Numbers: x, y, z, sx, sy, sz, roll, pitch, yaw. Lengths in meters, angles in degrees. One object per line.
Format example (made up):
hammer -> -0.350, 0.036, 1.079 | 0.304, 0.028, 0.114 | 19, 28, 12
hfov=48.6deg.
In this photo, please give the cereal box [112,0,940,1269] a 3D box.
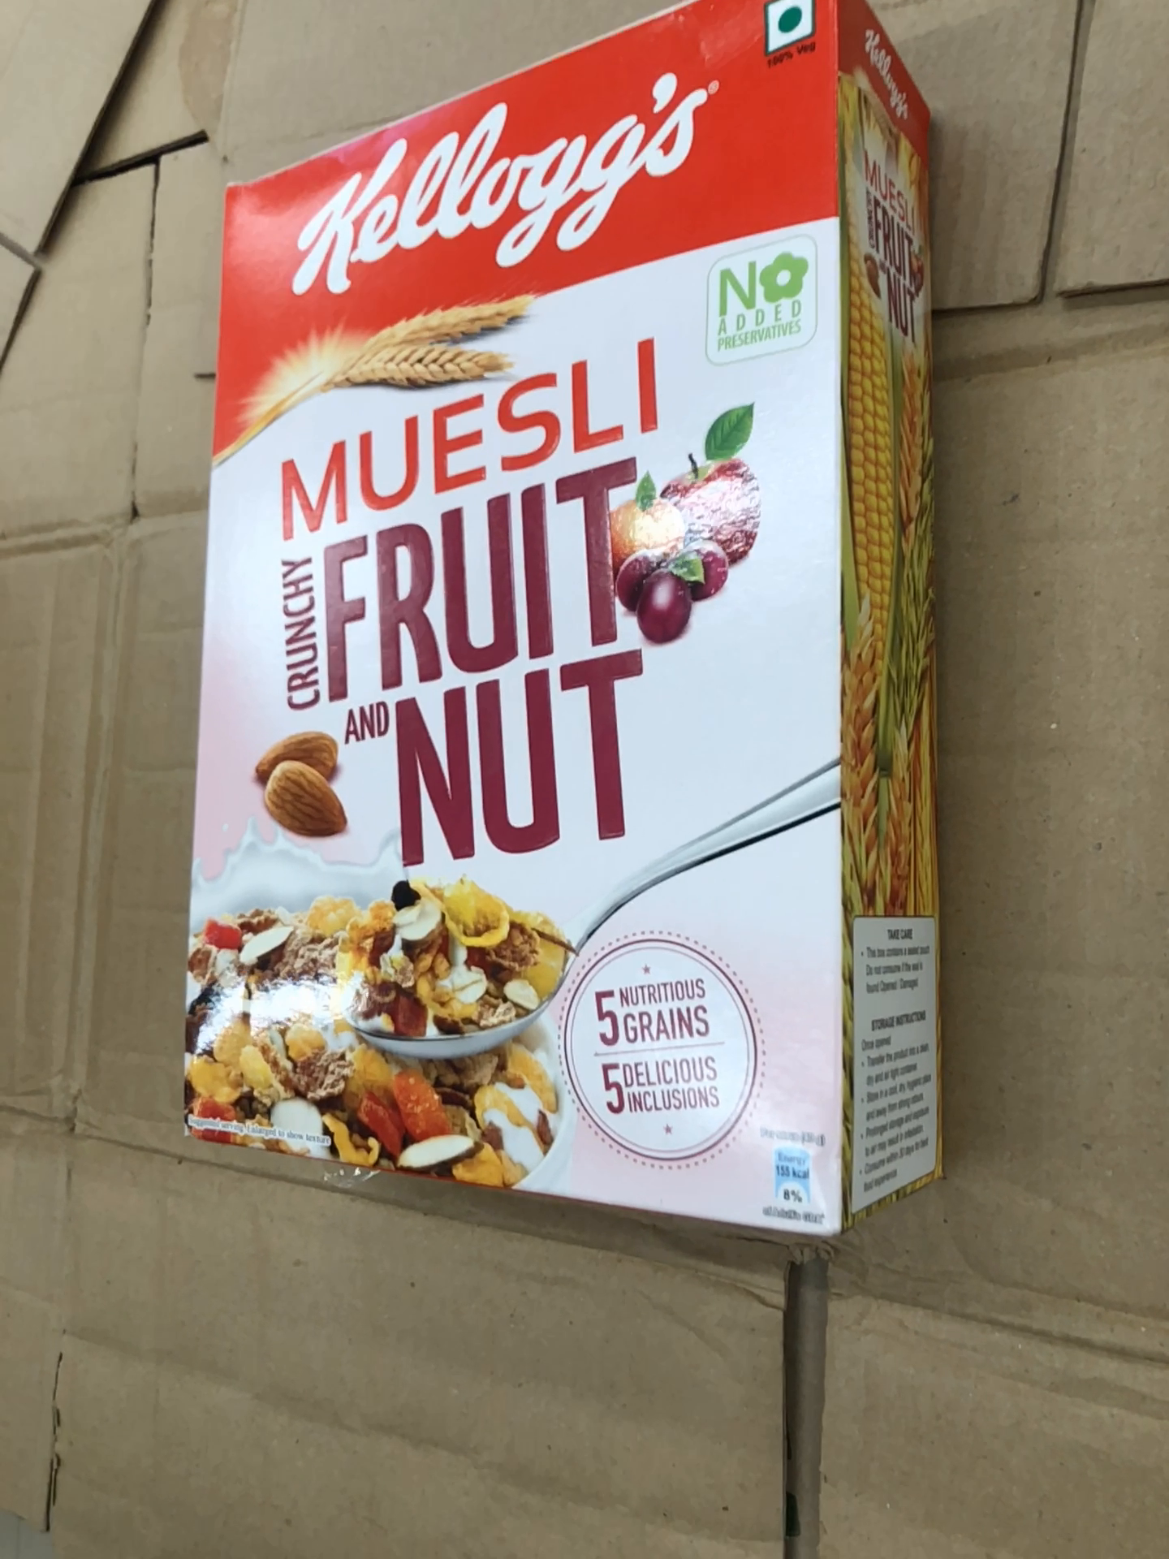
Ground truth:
cereal box -> -0.015, -0.036, 0.305 | 0.170, 0.080, 0.250 | -3, 82, 32
